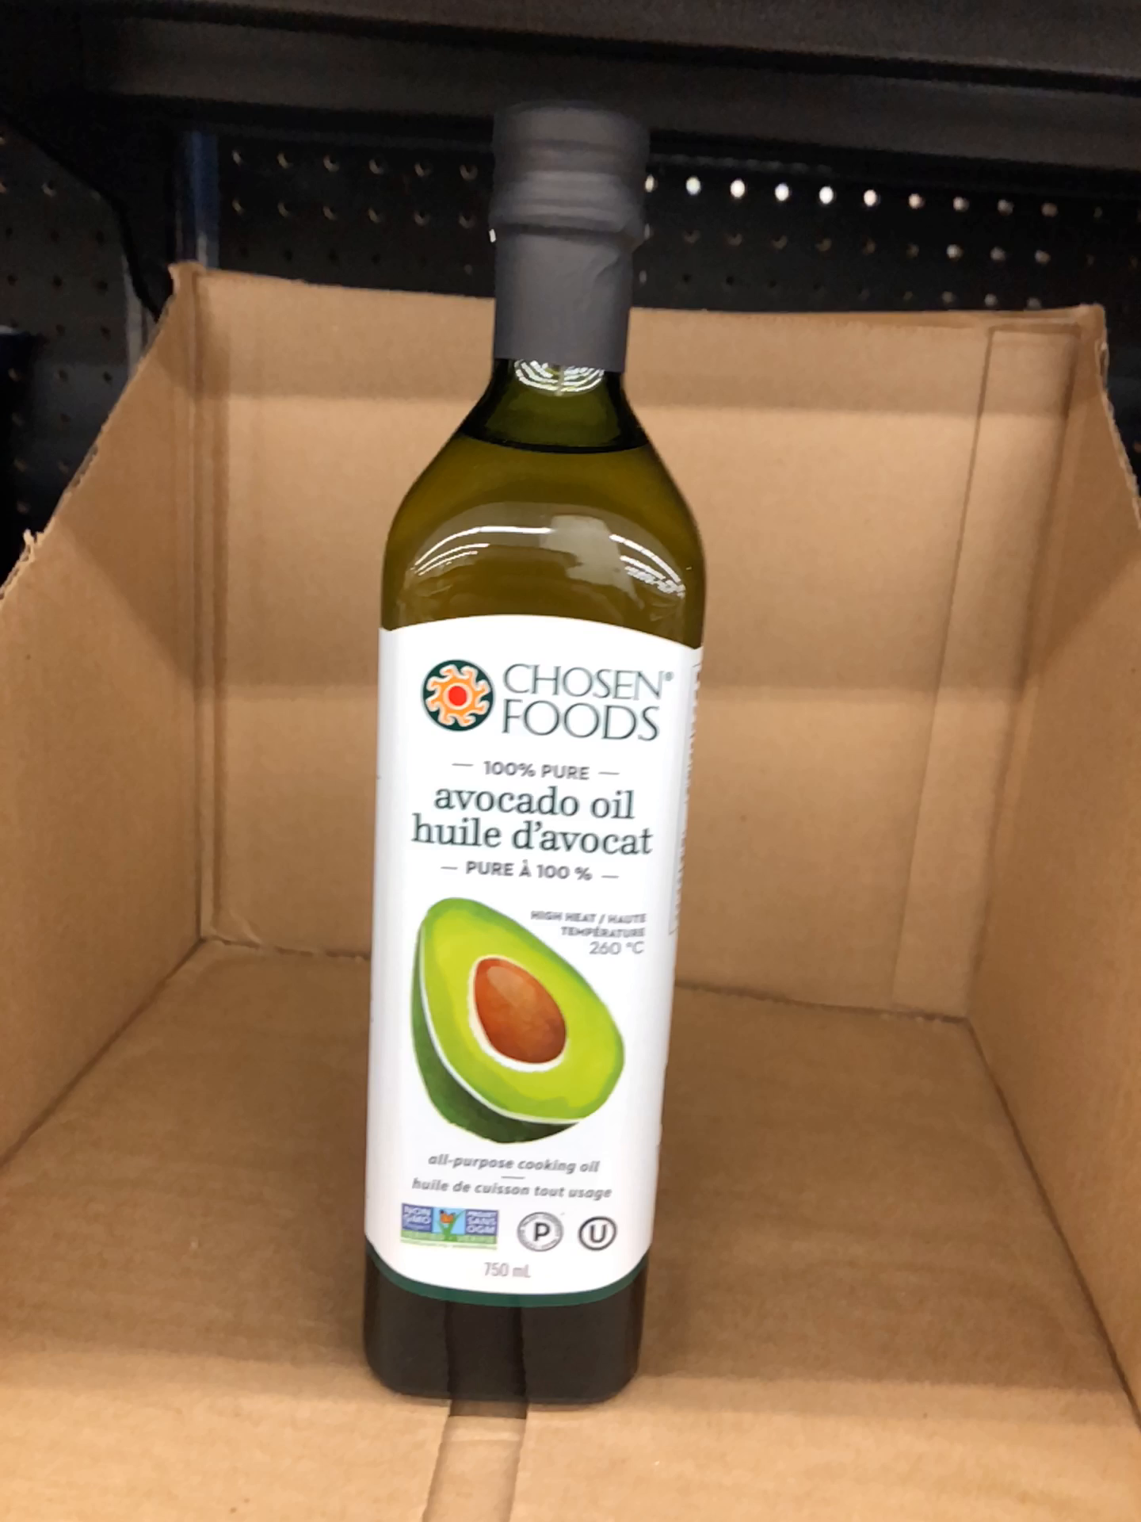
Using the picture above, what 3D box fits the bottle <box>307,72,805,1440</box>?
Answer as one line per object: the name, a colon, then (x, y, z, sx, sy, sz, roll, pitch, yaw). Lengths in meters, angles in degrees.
bottle: (-0.012, 0.014, 0.310, 0.090, 0.308, 0.070, 3, 18, -1)
